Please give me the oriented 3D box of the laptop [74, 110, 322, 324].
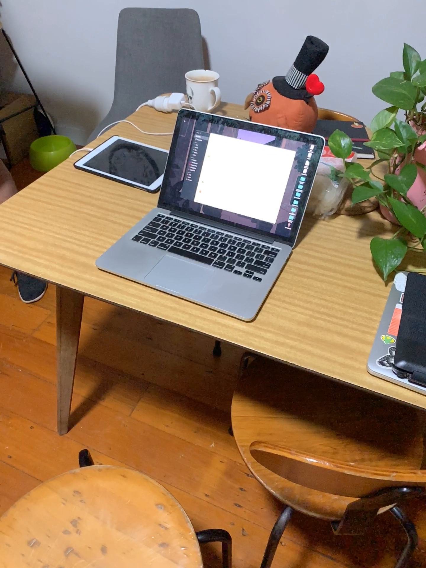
[{"bbox_3d":[-0.007,-0.128,0.677,0.264,0.144,0.288,19,44,19],"label":"laptop"}]
